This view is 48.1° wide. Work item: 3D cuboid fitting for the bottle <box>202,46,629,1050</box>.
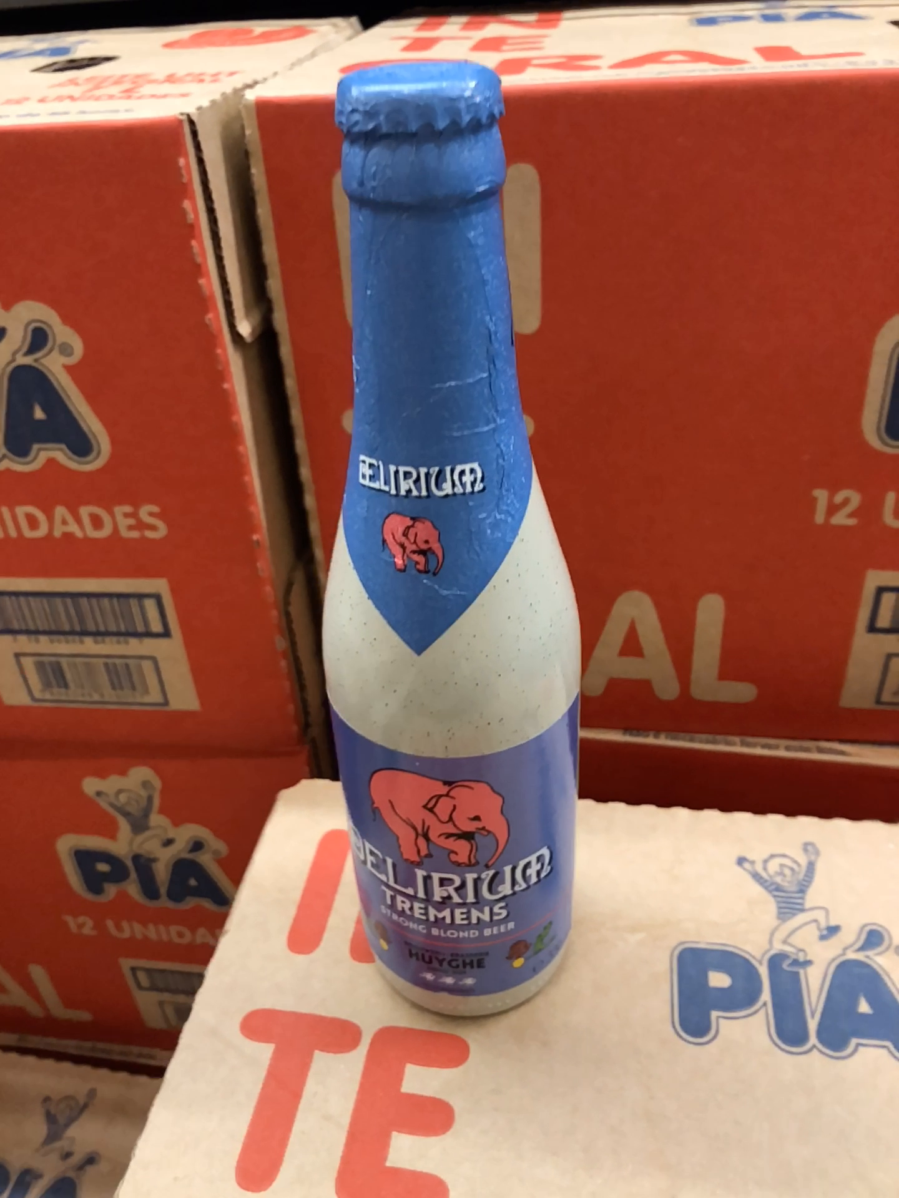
[{"bbox_3d":[0.003,0.001,0.229,0.060,0.218,0.060,-2,31,1],"label":"bottle"}]
